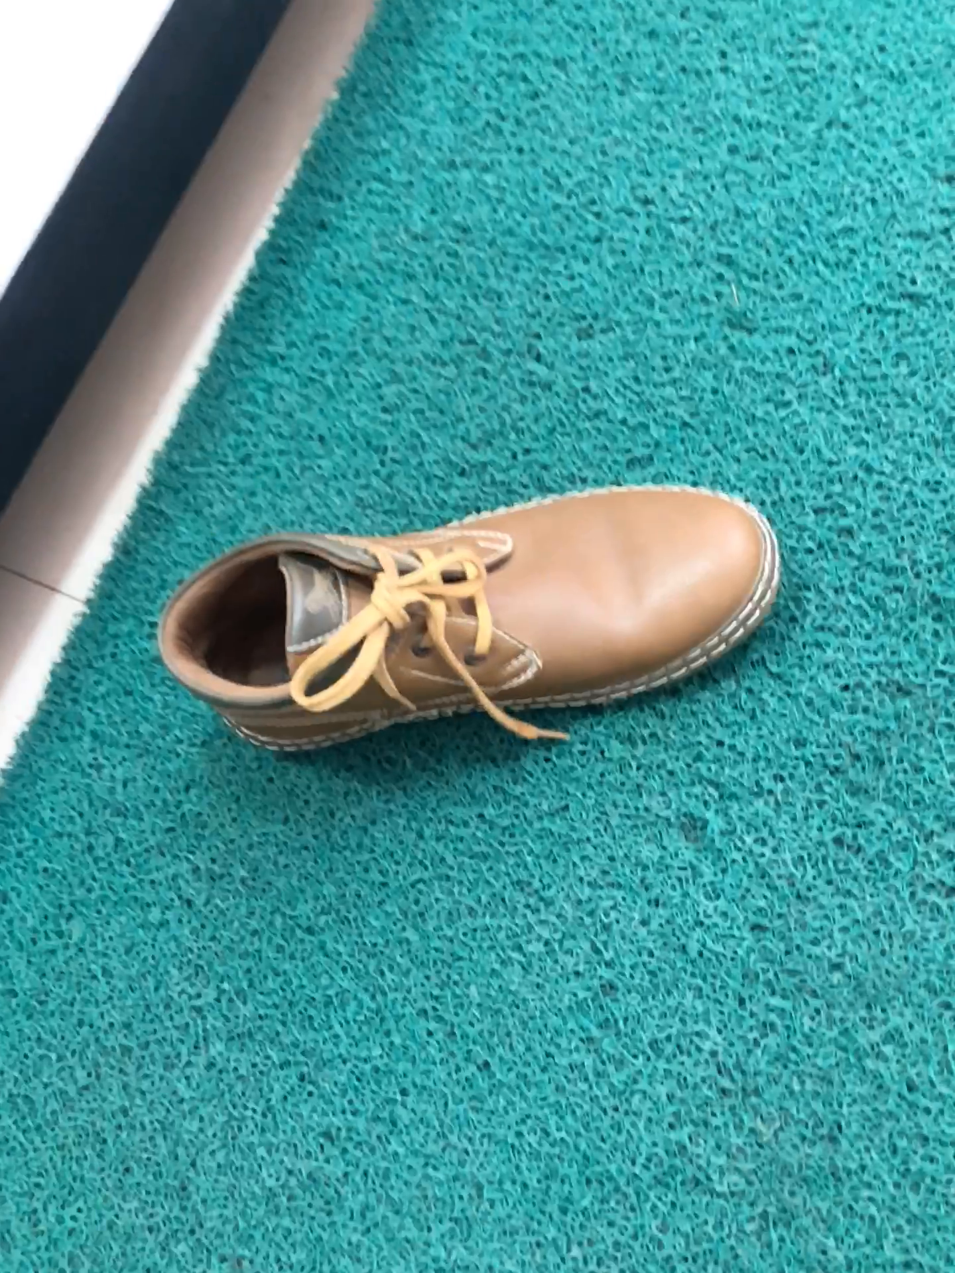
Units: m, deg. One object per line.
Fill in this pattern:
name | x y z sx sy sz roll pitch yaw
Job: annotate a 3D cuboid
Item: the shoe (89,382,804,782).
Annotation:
shoe | -0.017 -0.012 0.445 0.280 0.080 0.100 -10 70 17
